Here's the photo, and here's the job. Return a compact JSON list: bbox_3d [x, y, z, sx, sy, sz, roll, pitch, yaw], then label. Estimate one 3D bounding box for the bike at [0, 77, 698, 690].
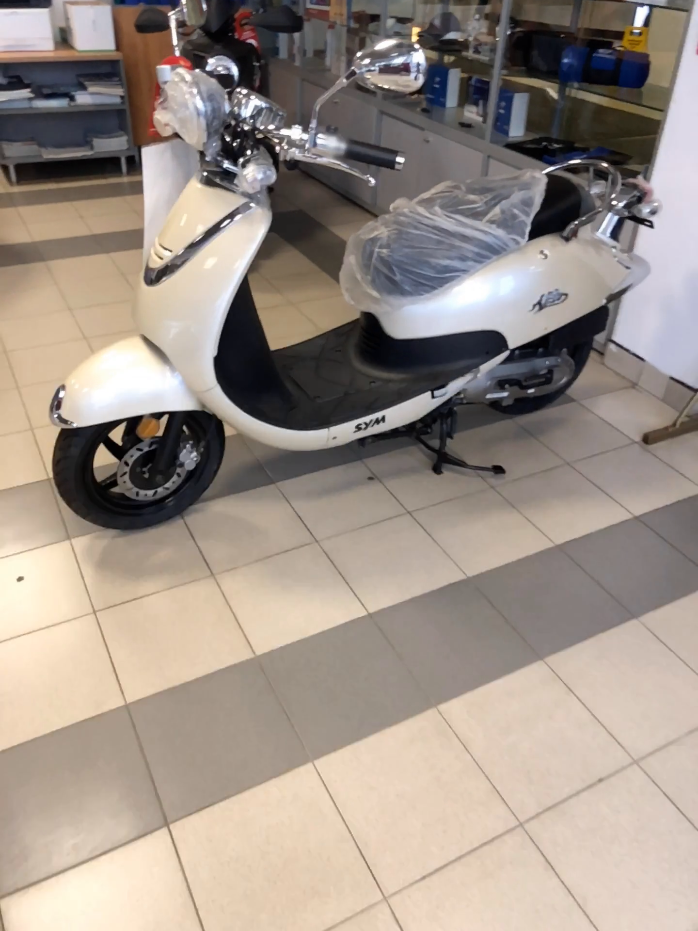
[{"bbox_3d":[0.074,-0.350,2.036,1.683,0.963,0.808,-16,38,-21],"label":"bike"}]
